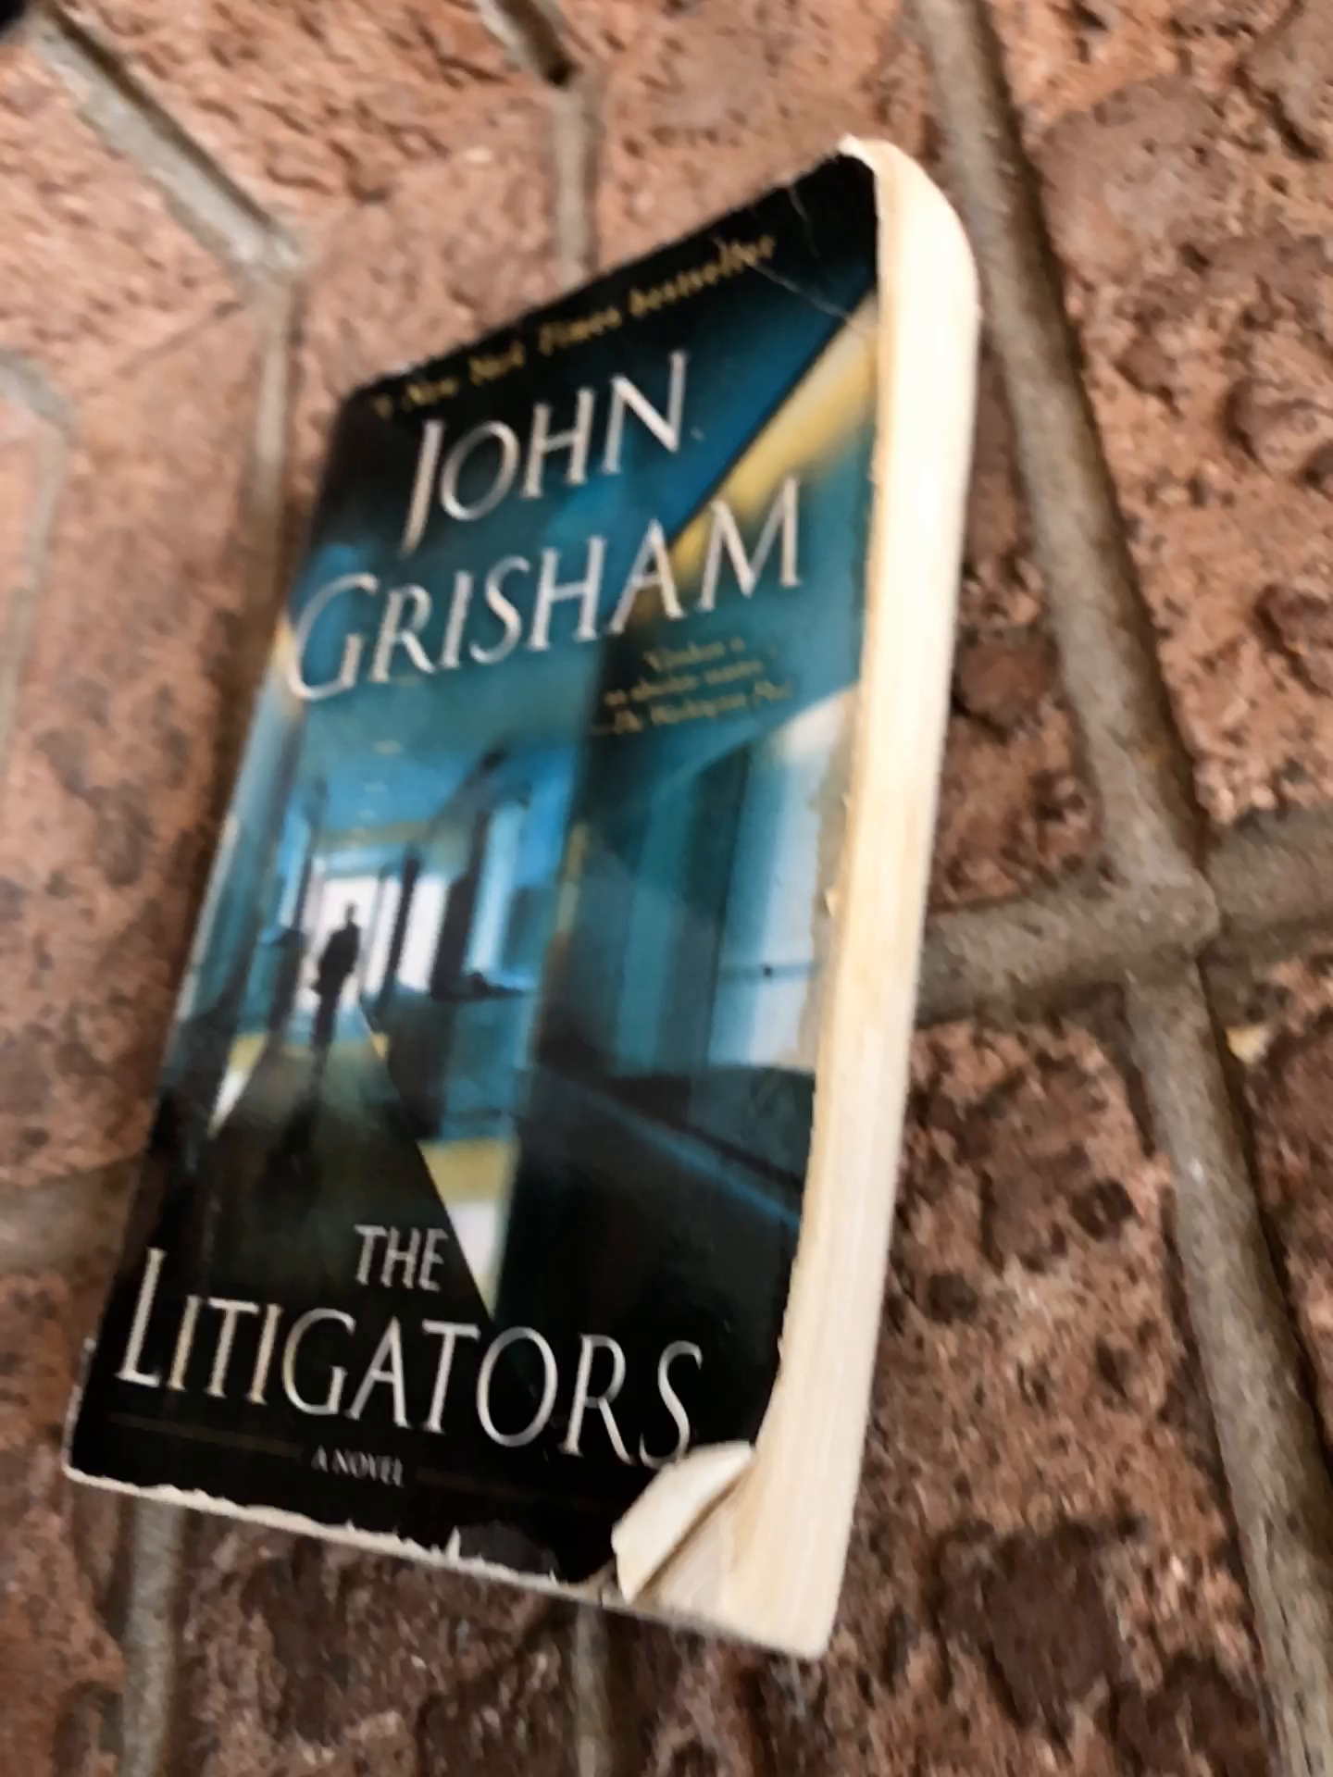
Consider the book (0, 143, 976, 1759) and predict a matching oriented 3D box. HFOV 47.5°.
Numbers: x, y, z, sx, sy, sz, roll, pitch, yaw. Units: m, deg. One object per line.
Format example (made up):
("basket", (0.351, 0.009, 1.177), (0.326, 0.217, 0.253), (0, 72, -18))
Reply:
("book", (-0.030, 0.001, 0.231), (0.135, 0.033, 0.199), (-6, 66, 38))
